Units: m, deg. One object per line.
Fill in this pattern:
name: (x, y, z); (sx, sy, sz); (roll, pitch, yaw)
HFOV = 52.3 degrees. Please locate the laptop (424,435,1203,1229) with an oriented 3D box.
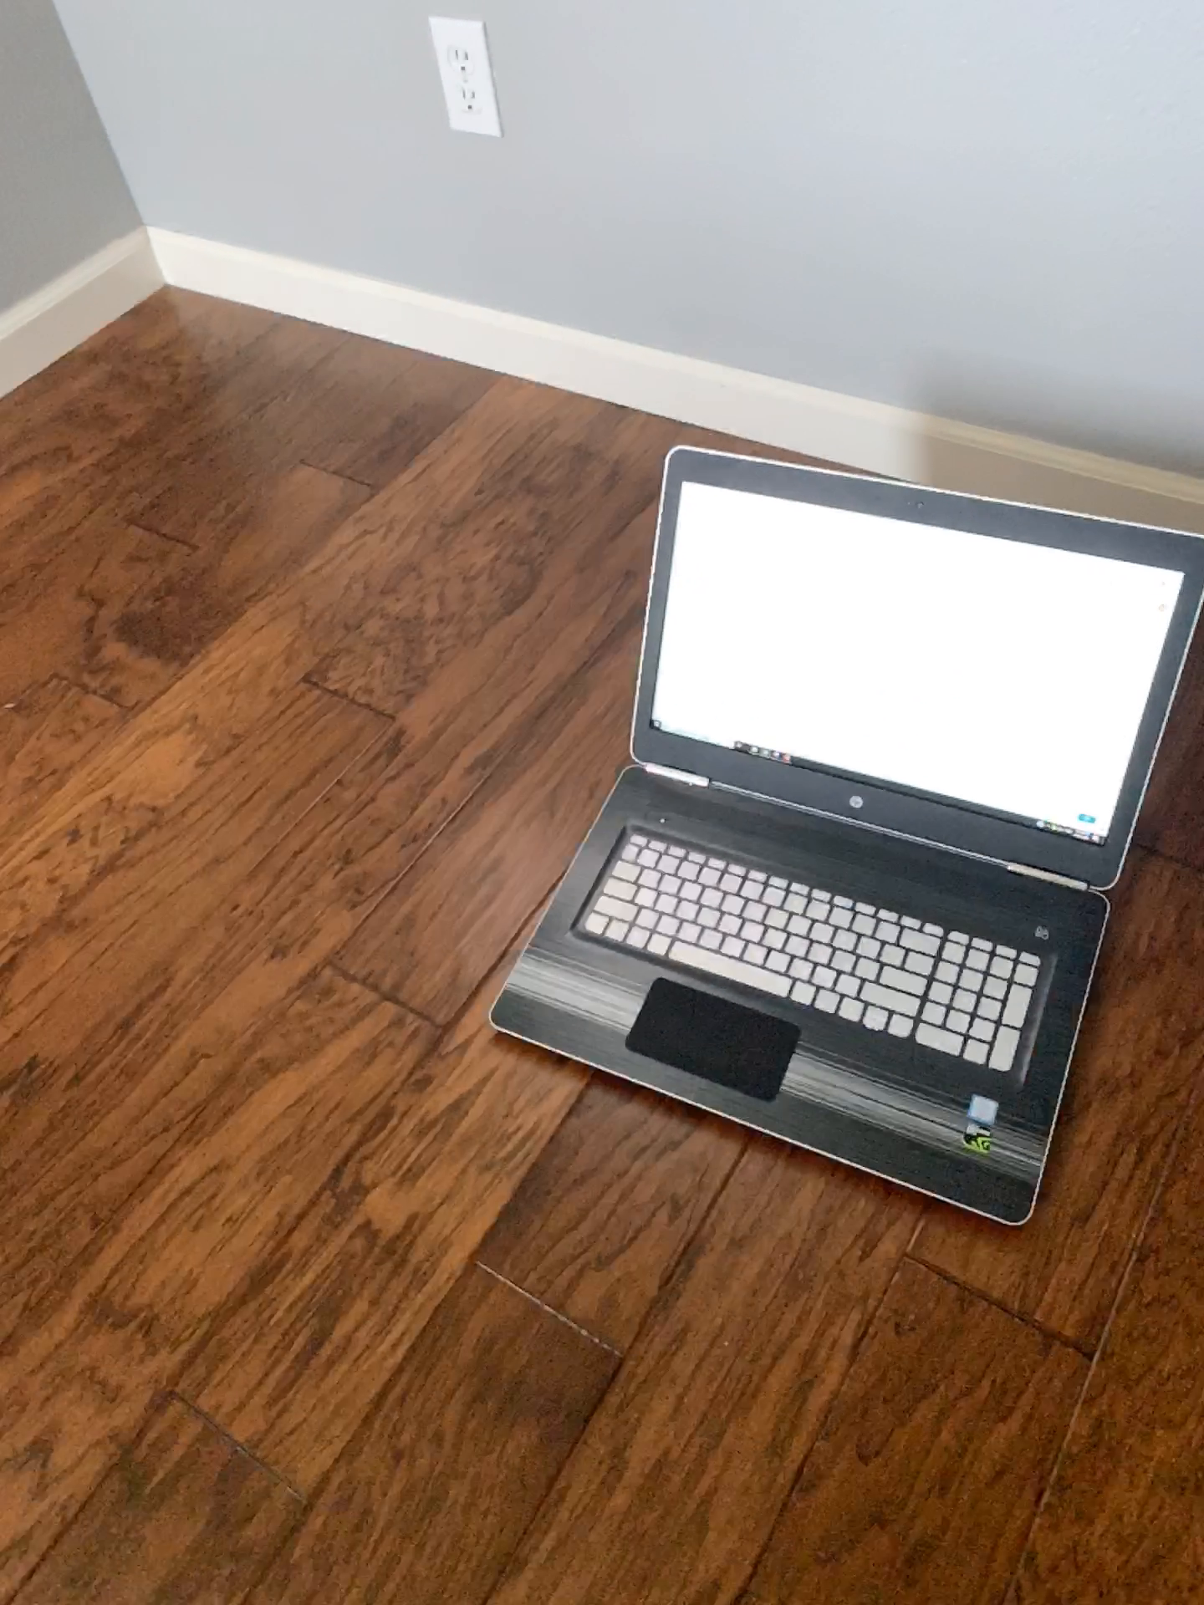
laptop: (0.171, -0.008, 0.894); (0.411, 0.233, 0.424); (16, 56, 20)
